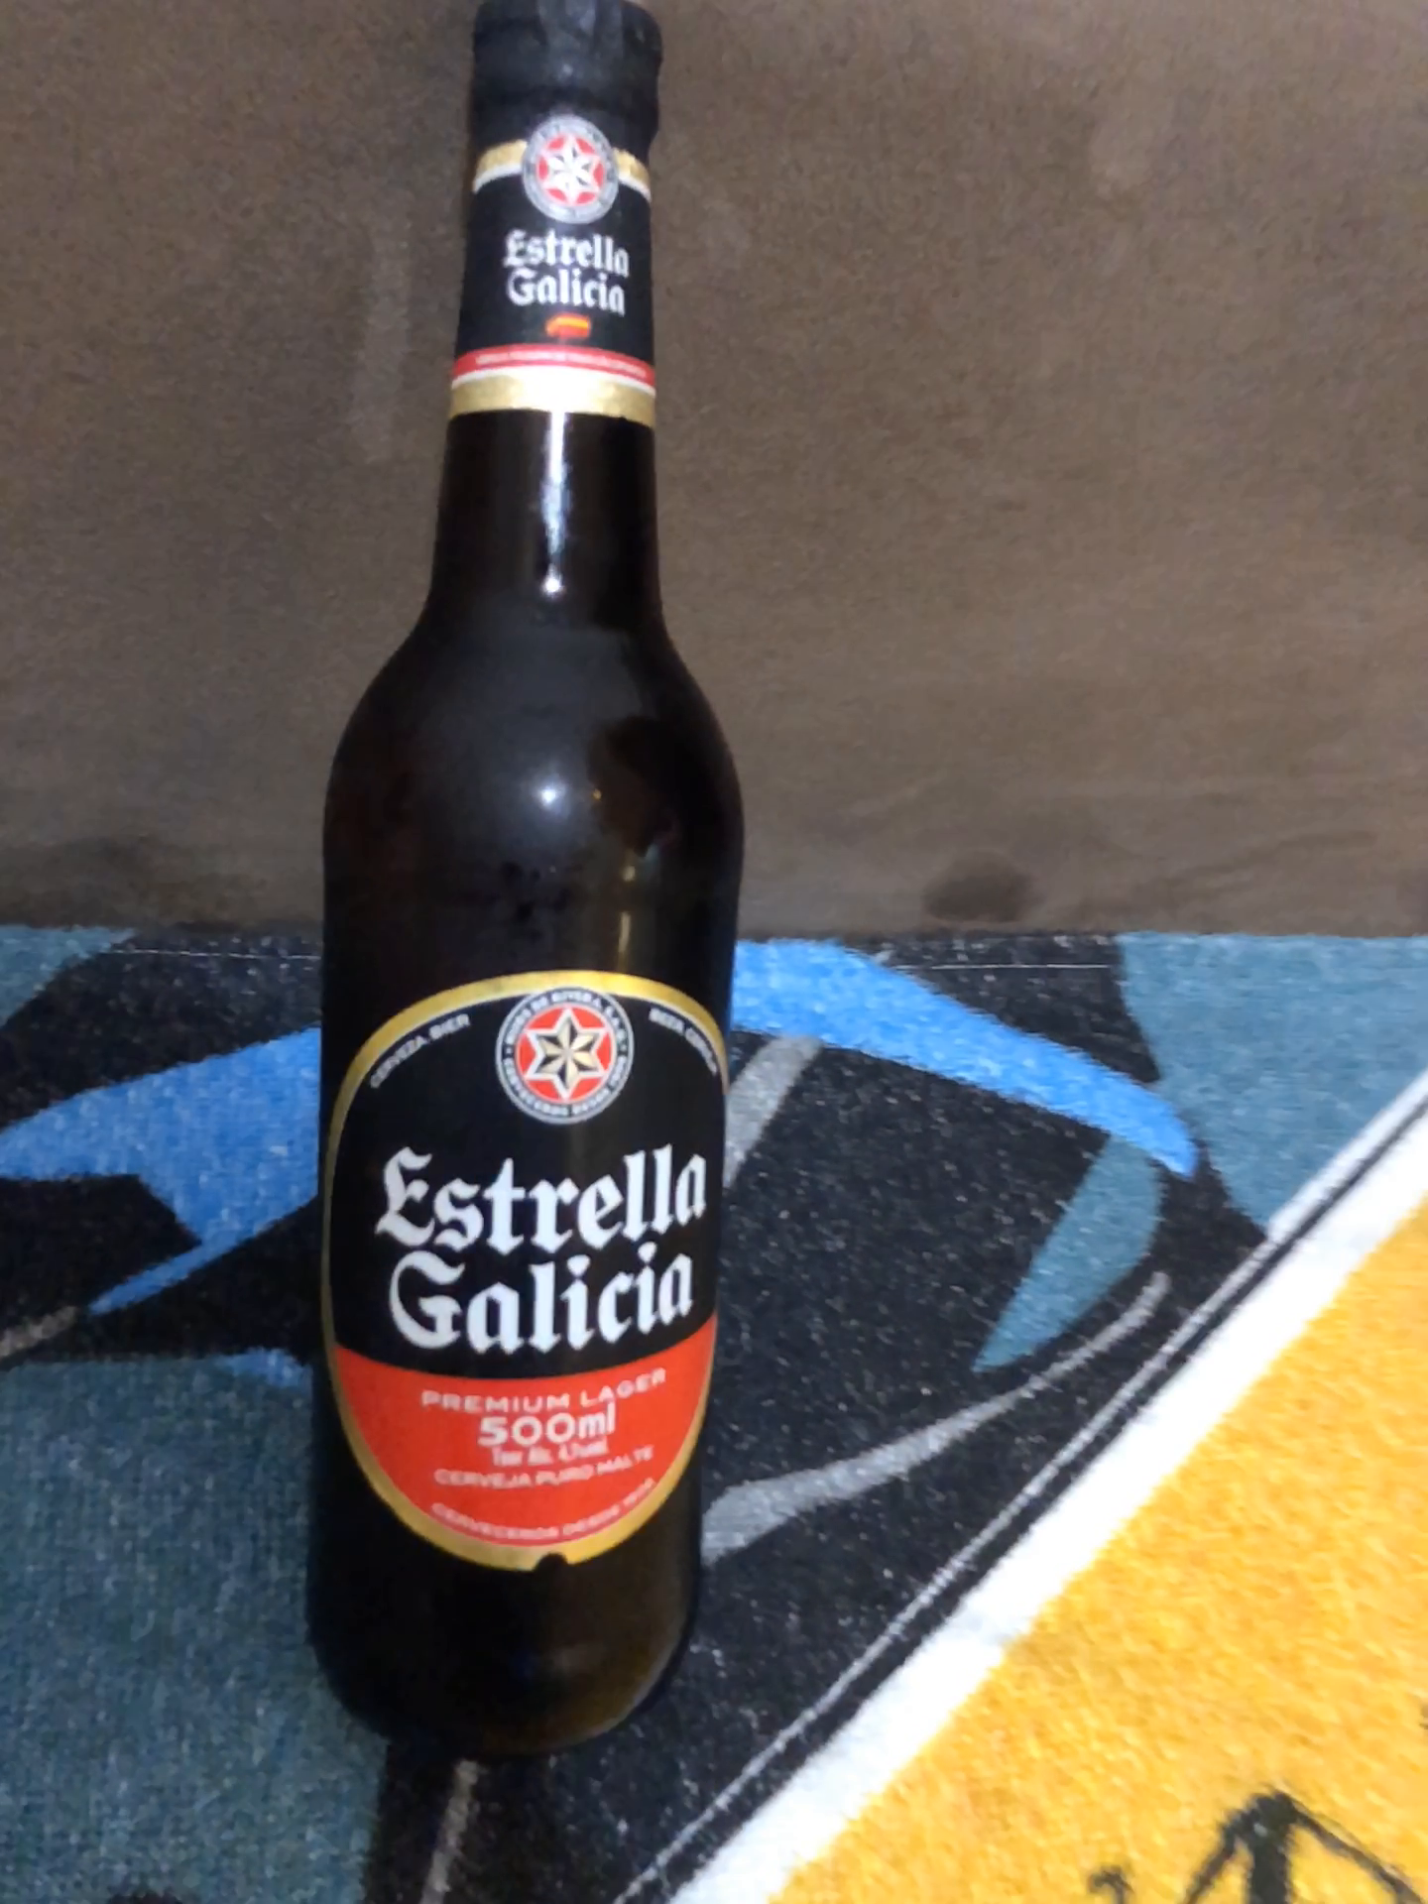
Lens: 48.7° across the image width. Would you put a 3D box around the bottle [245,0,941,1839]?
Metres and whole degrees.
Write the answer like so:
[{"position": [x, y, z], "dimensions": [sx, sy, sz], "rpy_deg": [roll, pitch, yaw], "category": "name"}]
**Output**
[{"position": [-0.027, -0.015, 0.250], "dimensions": [0.080, 0.270, 0.080], "rpy_deg": [4, 7, 0], "category": "bottle"}]
